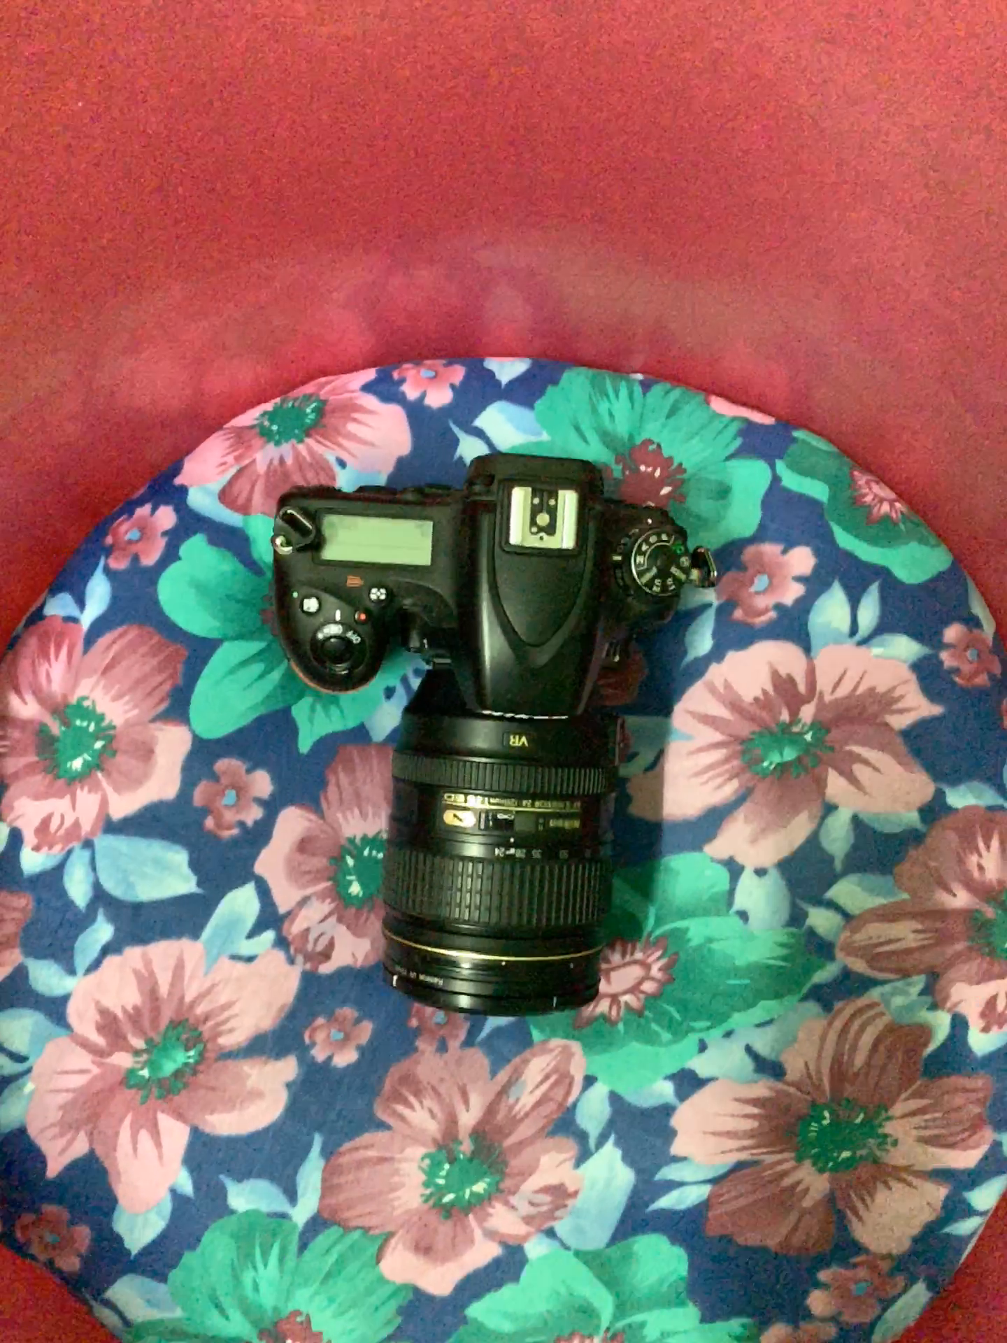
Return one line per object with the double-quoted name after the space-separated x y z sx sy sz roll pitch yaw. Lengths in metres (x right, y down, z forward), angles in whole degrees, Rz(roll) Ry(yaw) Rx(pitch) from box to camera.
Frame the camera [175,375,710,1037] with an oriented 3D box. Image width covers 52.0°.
-0.017 0.012 0.350 0.140 0.111 0.179 4 86 -1 "camera"
